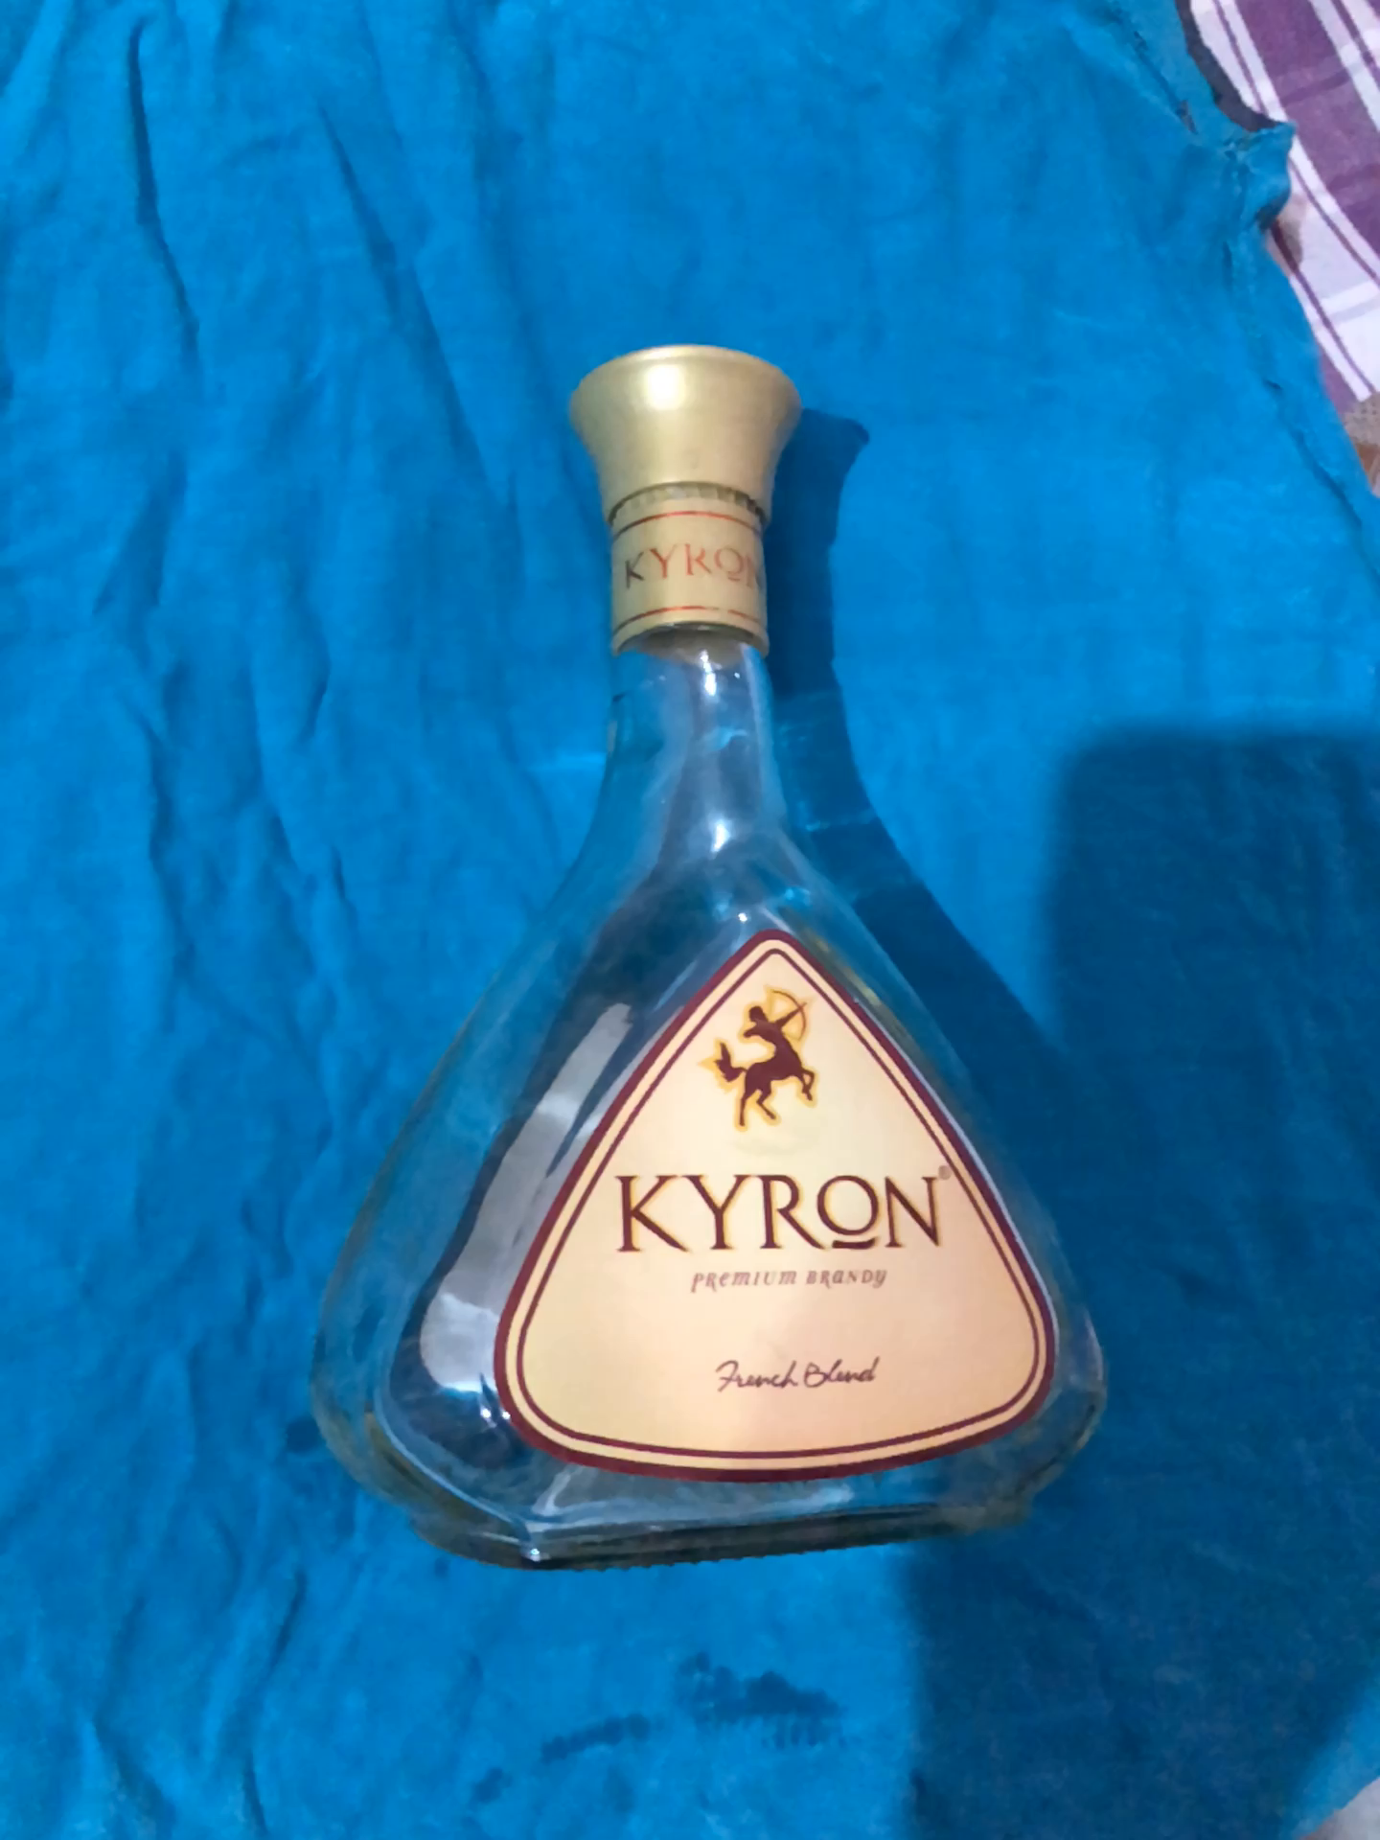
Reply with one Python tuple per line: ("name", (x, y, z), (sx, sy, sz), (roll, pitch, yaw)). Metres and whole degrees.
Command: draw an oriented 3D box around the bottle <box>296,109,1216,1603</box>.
("bottle", (0.005, -0.011, 0.299), (0.150, 0.080, 0.240), (2, 80, -15))
